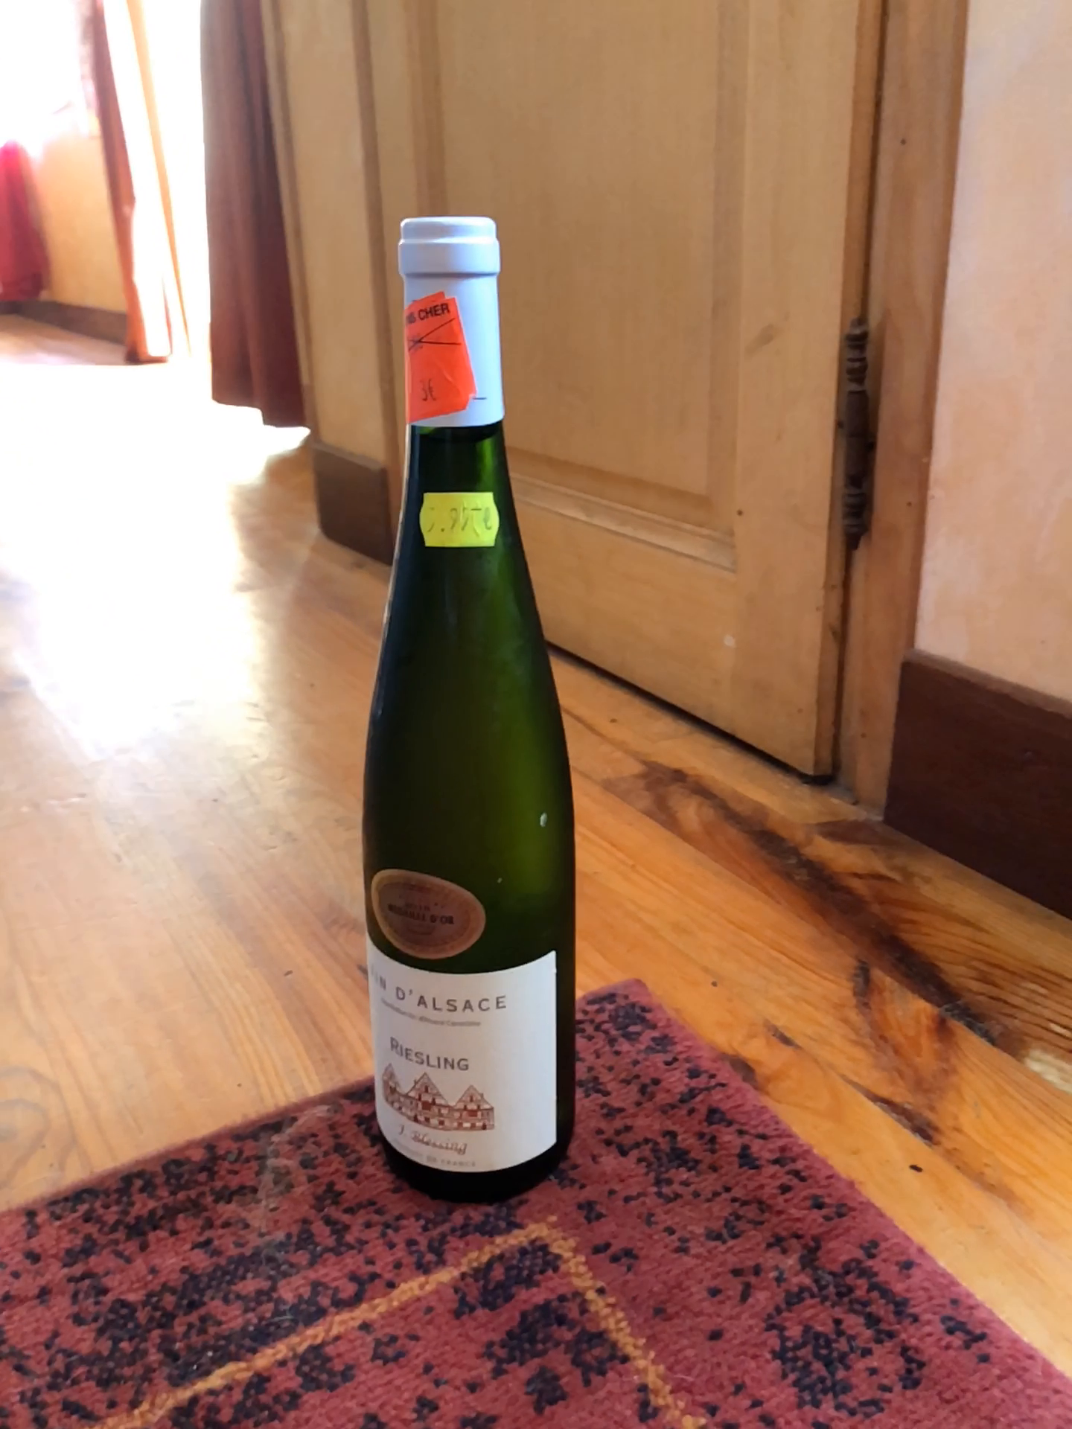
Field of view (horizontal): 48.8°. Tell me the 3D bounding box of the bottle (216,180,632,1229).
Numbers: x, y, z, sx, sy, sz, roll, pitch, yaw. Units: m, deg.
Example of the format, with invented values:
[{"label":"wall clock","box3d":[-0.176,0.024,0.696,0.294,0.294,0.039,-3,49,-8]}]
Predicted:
[{"label":"bottle","box3d":[-0.021,0.003,0.362,0.080,0.299,0.080,-2,22,1]}]
